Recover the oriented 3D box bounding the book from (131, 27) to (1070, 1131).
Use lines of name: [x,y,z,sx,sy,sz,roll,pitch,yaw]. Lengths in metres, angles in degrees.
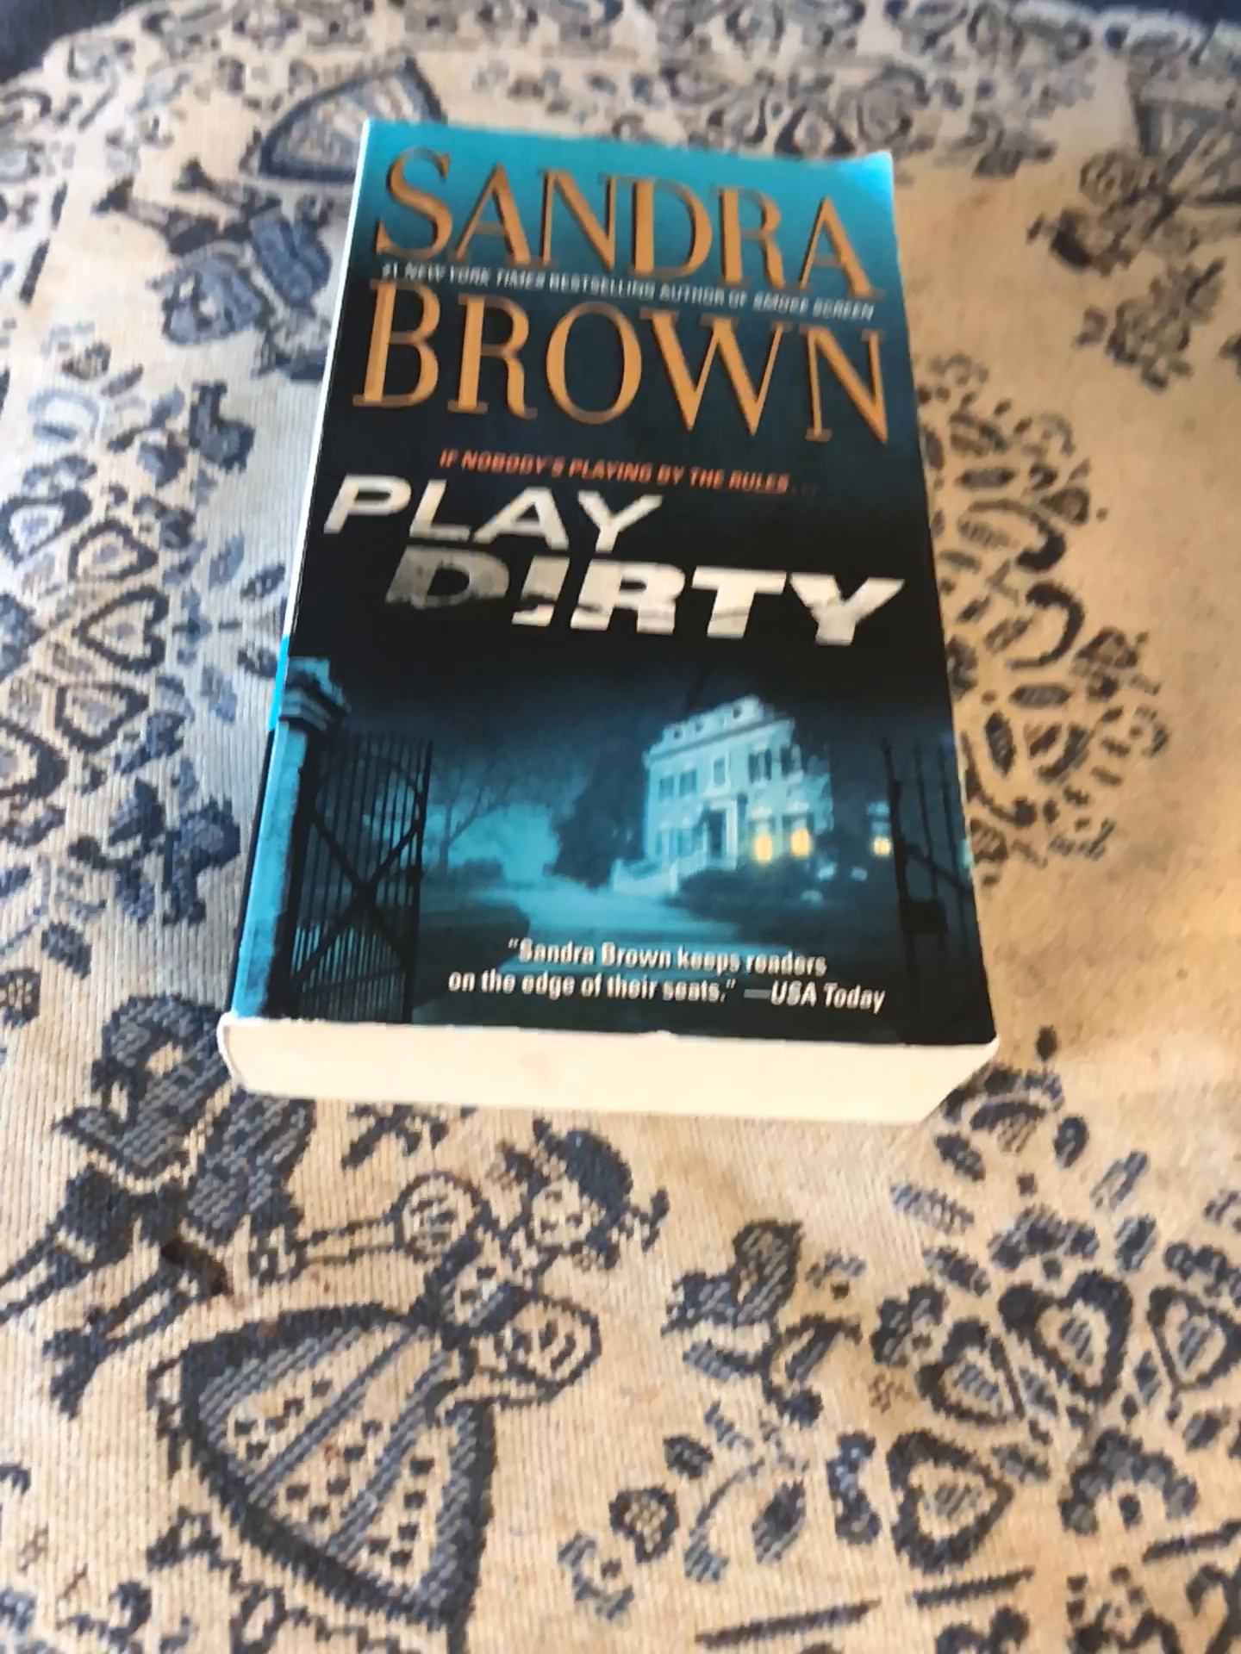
book: [-0.002,-0.047,0.220,0.110,0.040,0.181,3,63,-4]
